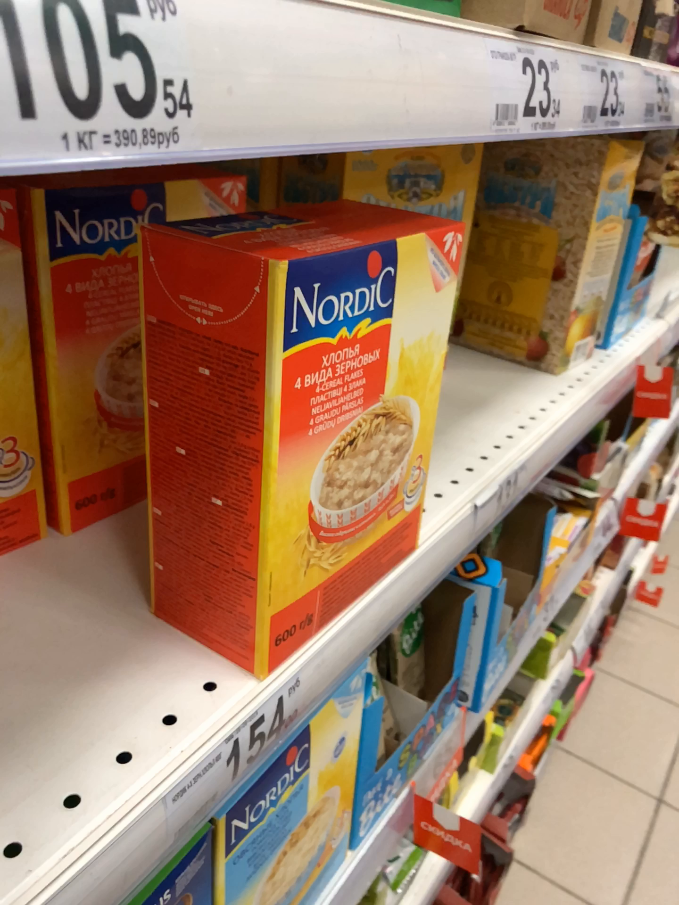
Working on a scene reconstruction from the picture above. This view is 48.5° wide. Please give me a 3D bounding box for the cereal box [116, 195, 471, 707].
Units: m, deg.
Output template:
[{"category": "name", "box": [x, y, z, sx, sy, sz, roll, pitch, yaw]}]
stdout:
[{"category": "cereal box", "box": [-0.019, -0.012, 0.372, 0.080, 0.199, 0.151, 20, 30, 28]}]
